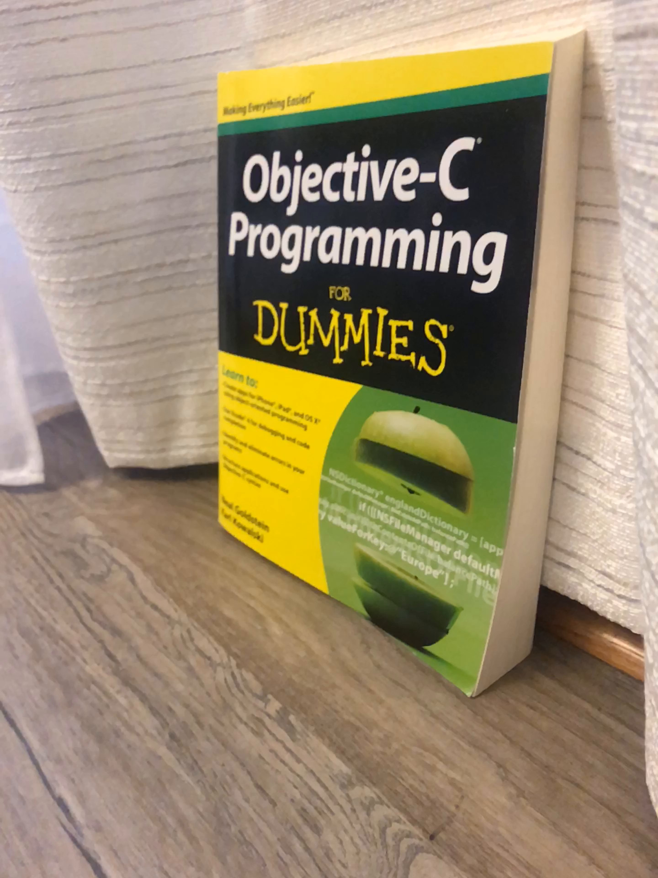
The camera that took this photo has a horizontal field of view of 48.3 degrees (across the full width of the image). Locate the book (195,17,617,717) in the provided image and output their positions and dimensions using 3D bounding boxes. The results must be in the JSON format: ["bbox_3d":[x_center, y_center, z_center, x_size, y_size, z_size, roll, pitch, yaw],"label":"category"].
[{"bbox_3d":[0.010,-0.034,0.310,0.033,0.230,0.184,-14,25,-39],"label":"book"}]
